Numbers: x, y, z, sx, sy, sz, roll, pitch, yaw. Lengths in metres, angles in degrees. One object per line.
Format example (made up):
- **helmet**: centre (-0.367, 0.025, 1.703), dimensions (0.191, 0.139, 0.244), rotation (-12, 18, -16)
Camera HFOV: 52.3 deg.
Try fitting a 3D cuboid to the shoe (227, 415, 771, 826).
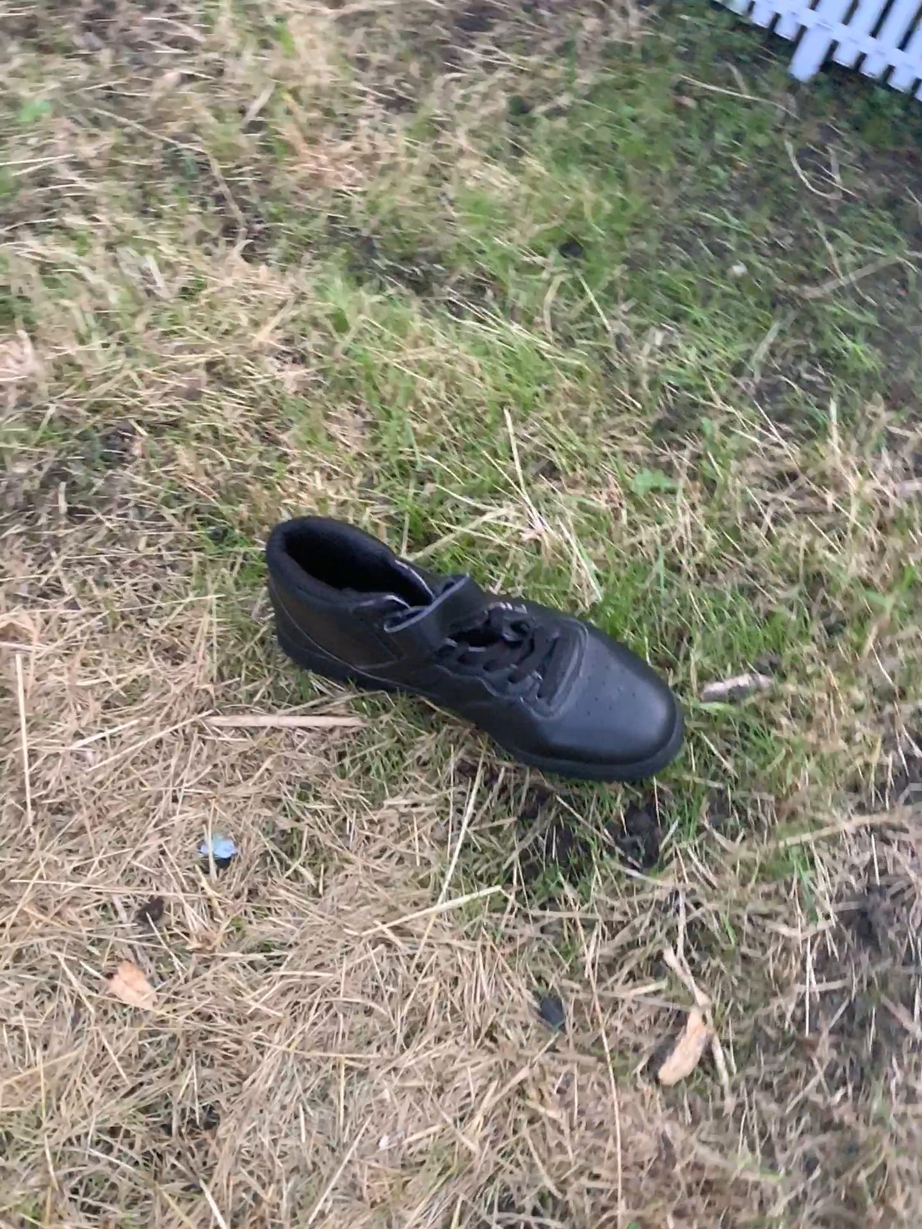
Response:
- **shoe**: centre (0.018, 0.007, 0.539), dimensions (0.260, 0.139, 0.101), rotation (20, 61, 8)
